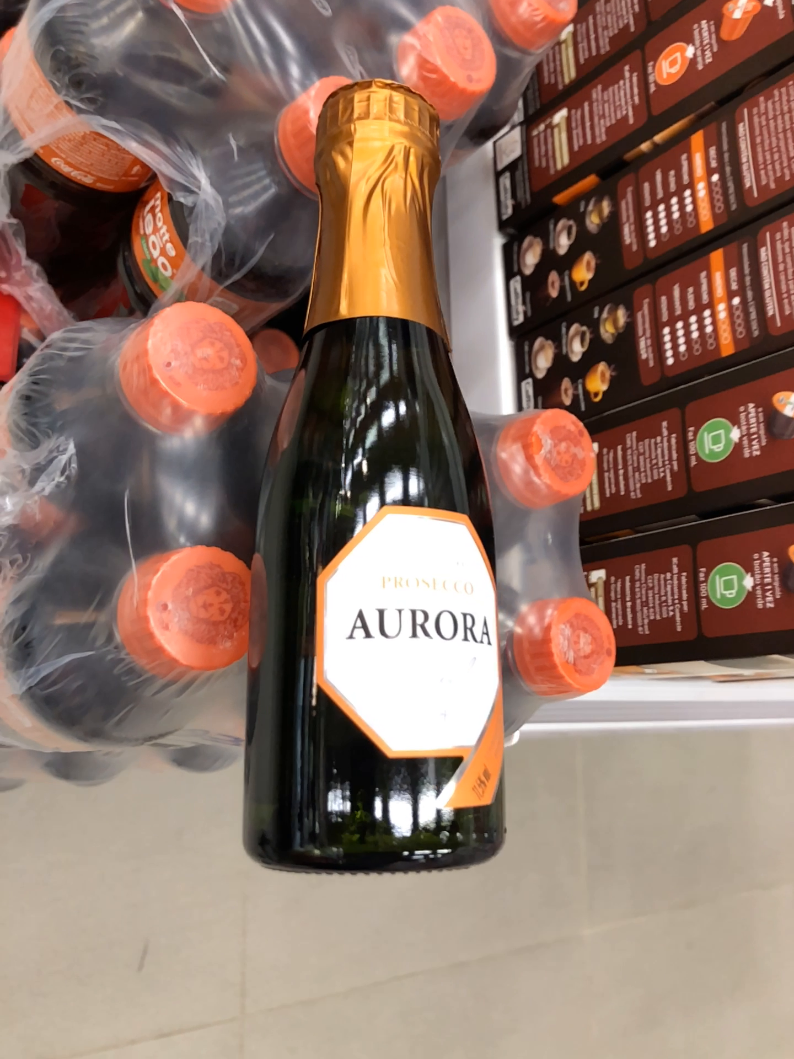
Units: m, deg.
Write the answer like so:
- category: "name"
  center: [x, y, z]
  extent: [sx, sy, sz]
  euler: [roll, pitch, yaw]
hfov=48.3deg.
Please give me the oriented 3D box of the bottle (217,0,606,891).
- category: "bottle"
  center: [0.005, -0.023, 0.196]
  extent: [0.060, 0.050, 0.180]
  euler: [10, 75, -35]
